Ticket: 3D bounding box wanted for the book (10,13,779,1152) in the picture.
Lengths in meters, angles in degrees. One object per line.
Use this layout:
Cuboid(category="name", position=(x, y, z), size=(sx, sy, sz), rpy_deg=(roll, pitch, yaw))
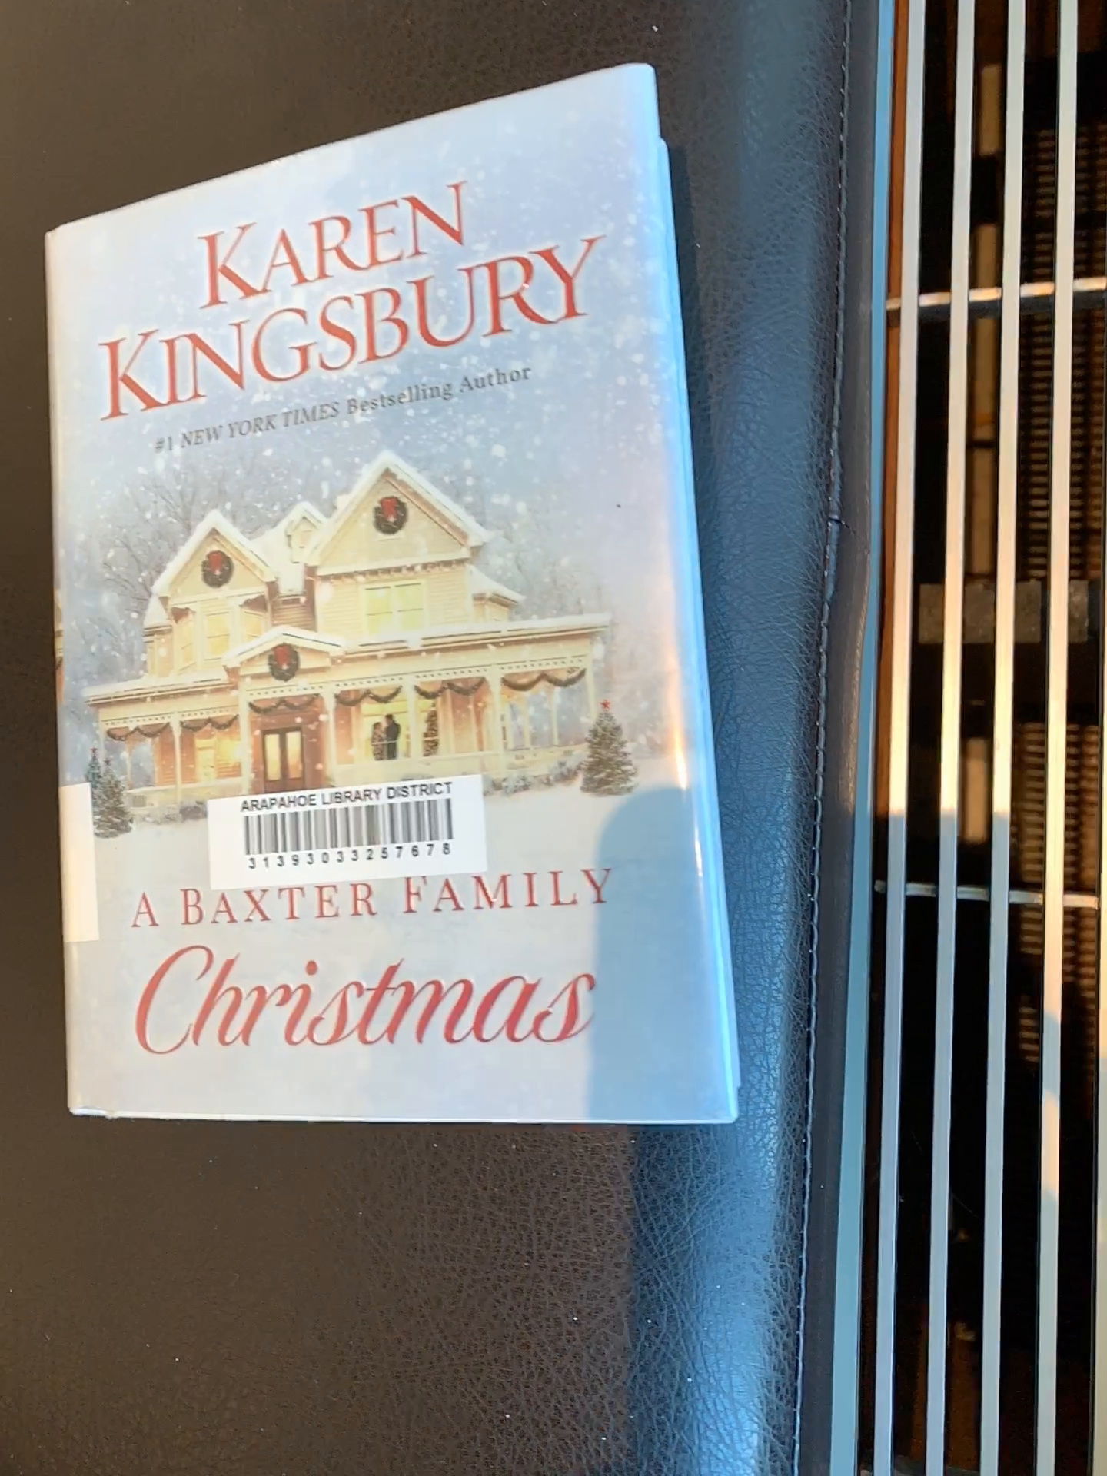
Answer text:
Cuboid(category="book", position=(-0.035, -0.021, 0.211), size=(0.134, 0.023, 0.180), rpy_deg=(-5, 86, 19))
